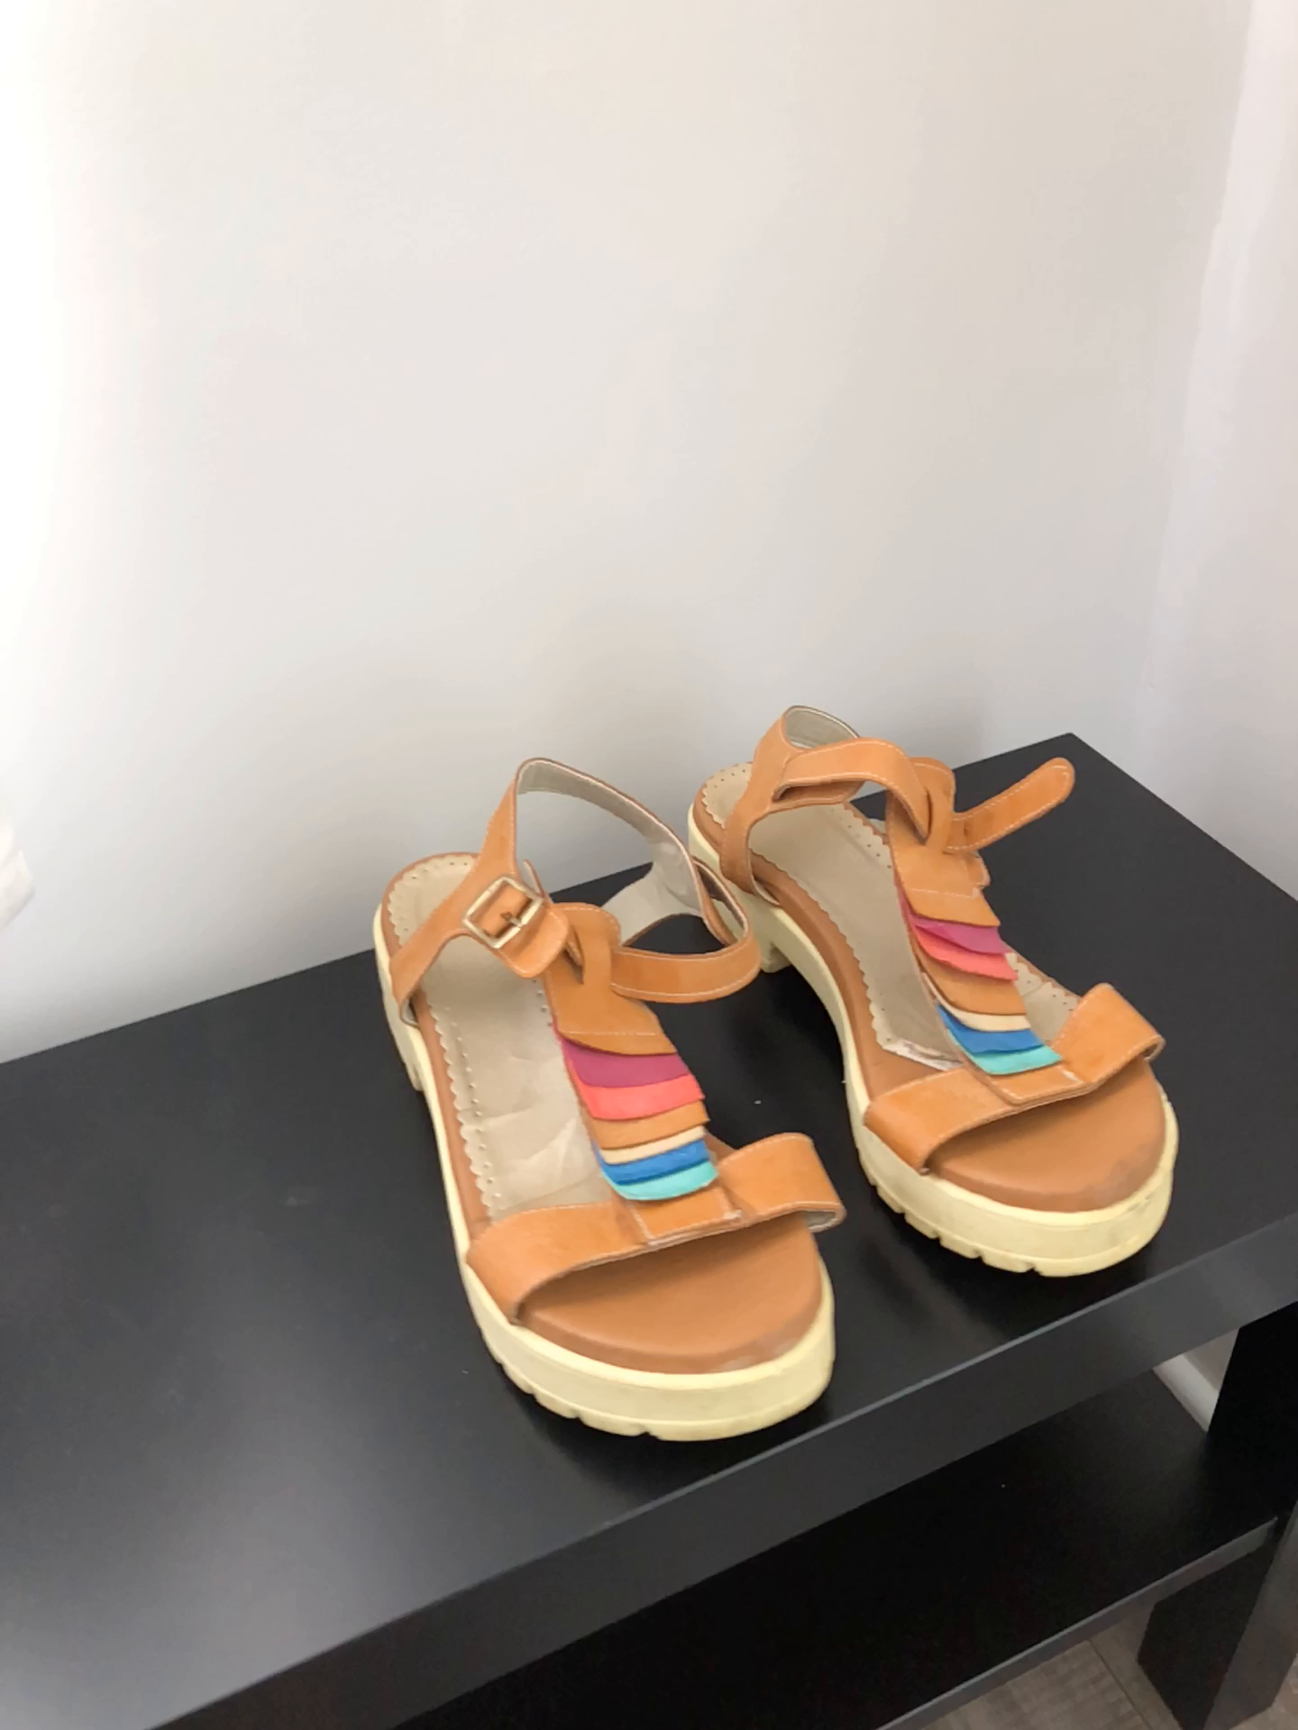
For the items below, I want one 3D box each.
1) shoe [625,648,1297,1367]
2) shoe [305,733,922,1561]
[{"bbox_3d":[0.086,0.026,0.475,0.100,0.077,0.248,-16,38,-16],"label":"shoe"},{"bbox_3d":[-0.025,0.064,0.448,0.100,0.083,0.248,-16,38,-16],"label":"shoe"}]
